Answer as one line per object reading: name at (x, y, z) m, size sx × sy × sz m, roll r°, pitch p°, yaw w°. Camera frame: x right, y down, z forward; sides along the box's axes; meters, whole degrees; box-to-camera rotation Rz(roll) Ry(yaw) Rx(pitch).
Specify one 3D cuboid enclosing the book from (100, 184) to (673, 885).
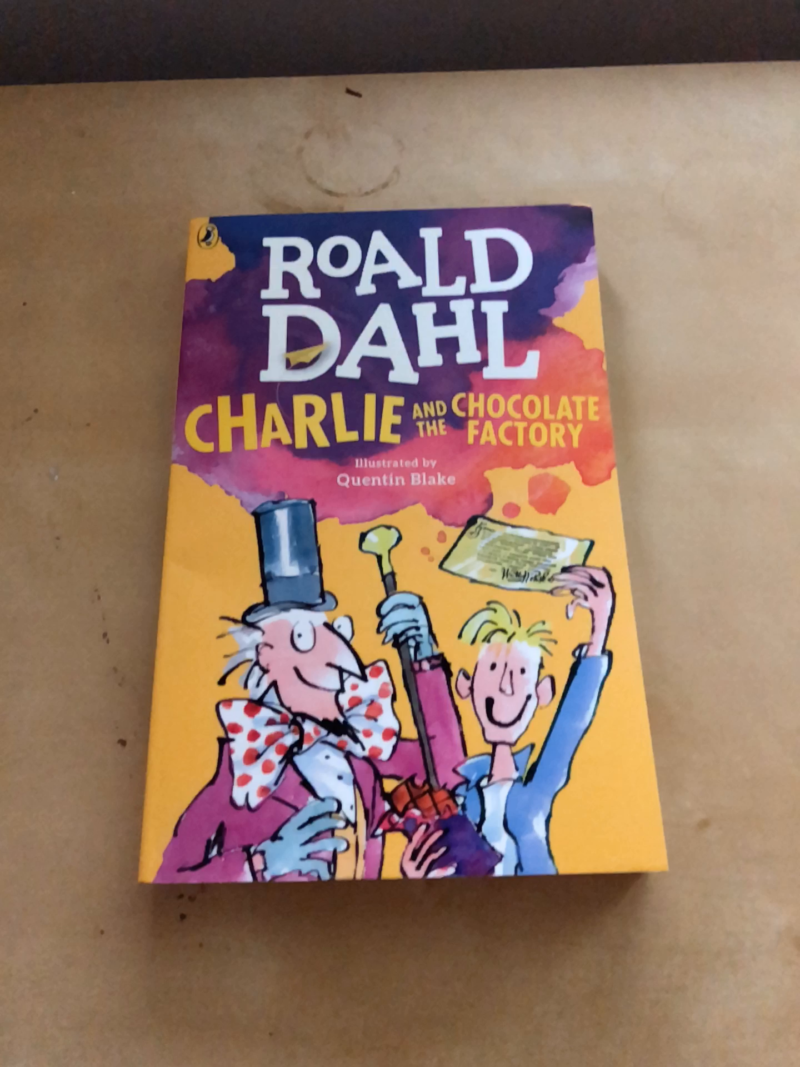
book at (-0.006, -0.007, 0.262) m, size 0.134 × 0.040 × 0.202 m, roll -1°, pitch 69°, yaw 0°
